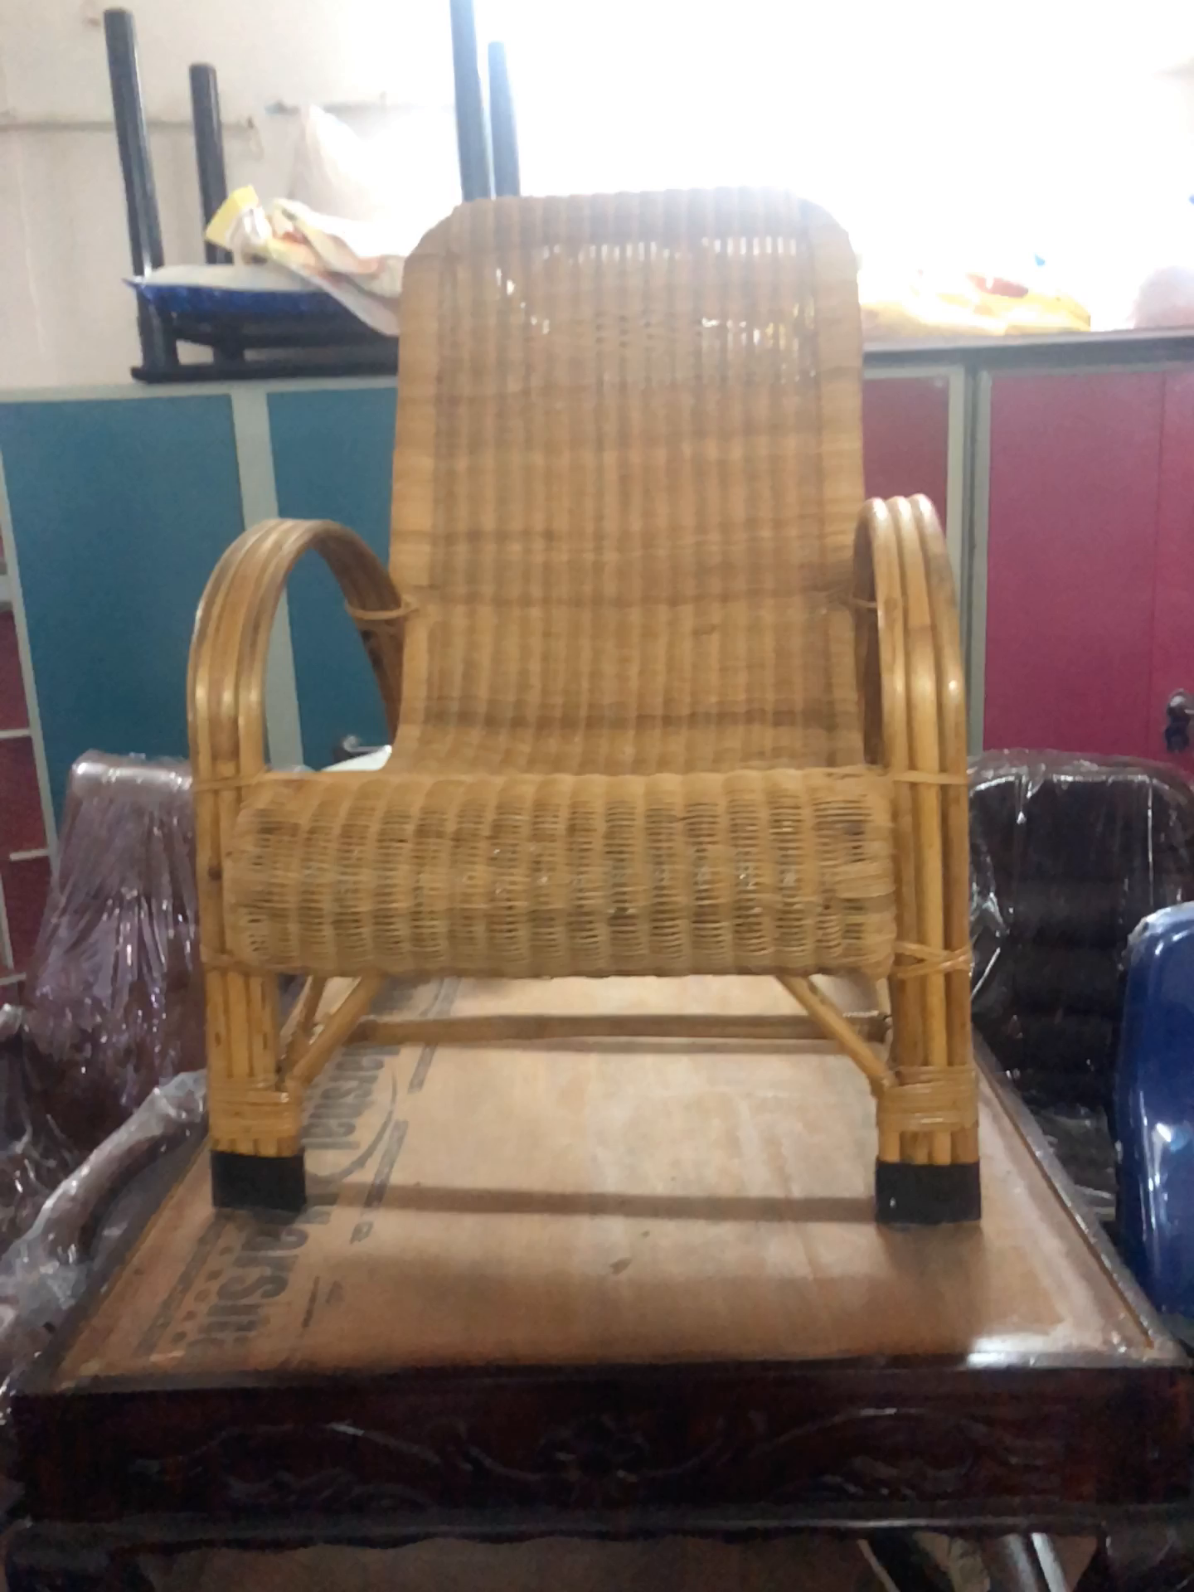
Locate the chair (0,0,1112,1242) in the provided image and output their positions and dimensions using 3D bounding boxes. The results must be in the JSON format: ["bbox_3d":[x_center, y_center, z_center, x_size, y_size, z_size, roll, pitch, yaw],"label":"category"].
[{"bbox_3d":[-0.010,-0.230,1.344,0.770,0.997,0.823,-1,13,6],"label":"chair"}]
